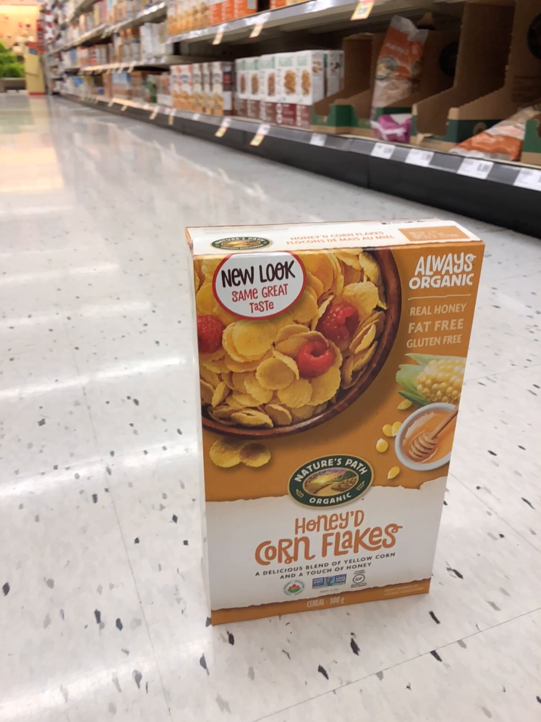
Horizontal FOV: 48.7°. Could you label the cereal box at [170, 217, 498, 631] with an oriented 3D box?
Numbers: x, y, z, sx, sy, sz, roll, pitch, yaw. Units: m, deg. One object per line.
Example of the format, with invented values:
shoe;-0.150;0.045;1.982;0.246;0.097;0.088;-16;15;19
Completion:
cereal box;0.029;0.043;0.363;0.160;0.239;0.060;-4;26;-9
